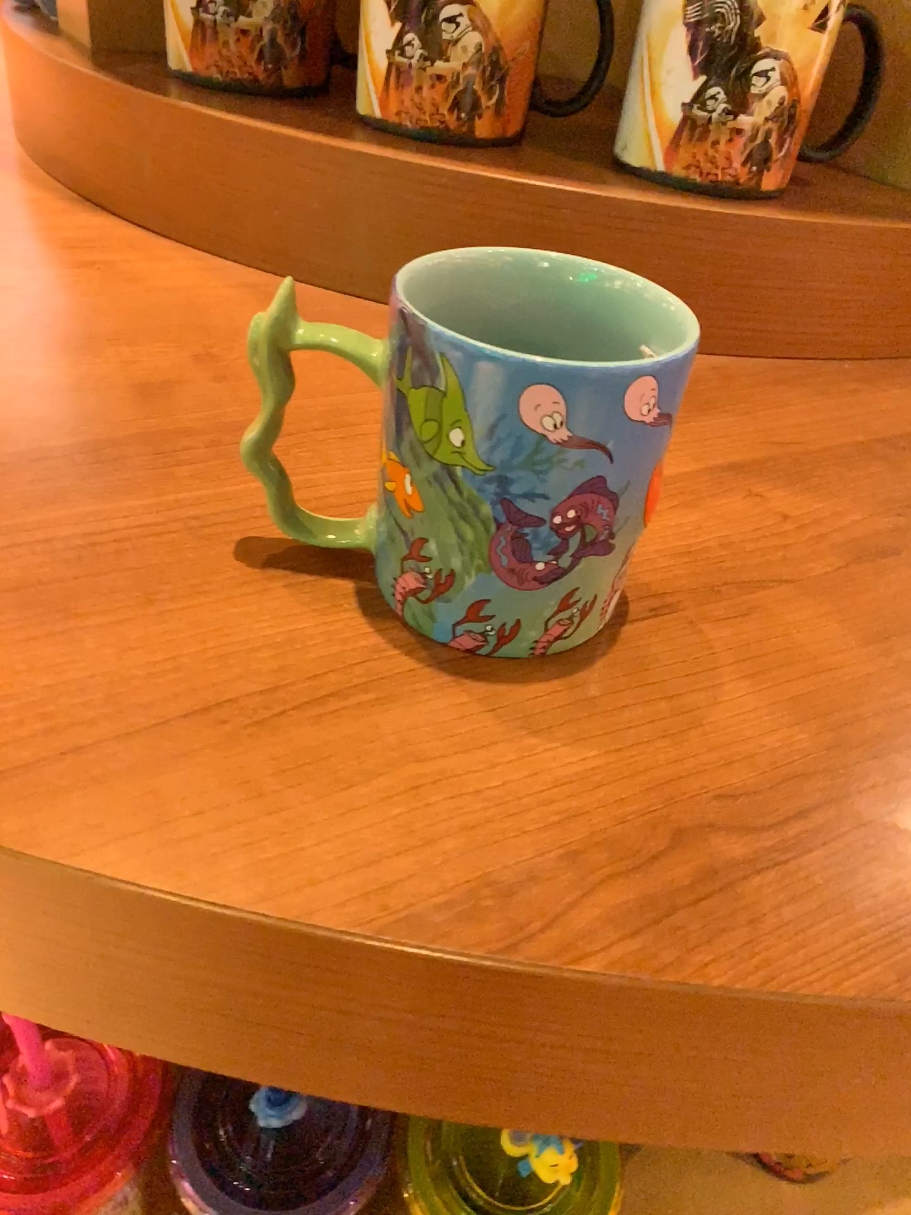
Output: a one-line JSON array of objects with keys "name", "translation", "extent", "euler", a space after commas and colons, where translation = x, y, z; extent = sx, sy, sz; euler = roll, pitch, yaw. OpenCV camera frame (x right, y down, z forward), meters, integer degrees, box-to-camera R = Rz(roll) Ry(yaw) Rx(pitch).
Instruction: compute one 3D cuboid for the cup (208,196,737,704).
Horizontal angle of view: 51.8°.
[{"name": "cup", "translation": [0.006, -0.053, 0.297], "extent": [0.134, 0.101, 0.091], "euler": [14, 38, 7]}]
